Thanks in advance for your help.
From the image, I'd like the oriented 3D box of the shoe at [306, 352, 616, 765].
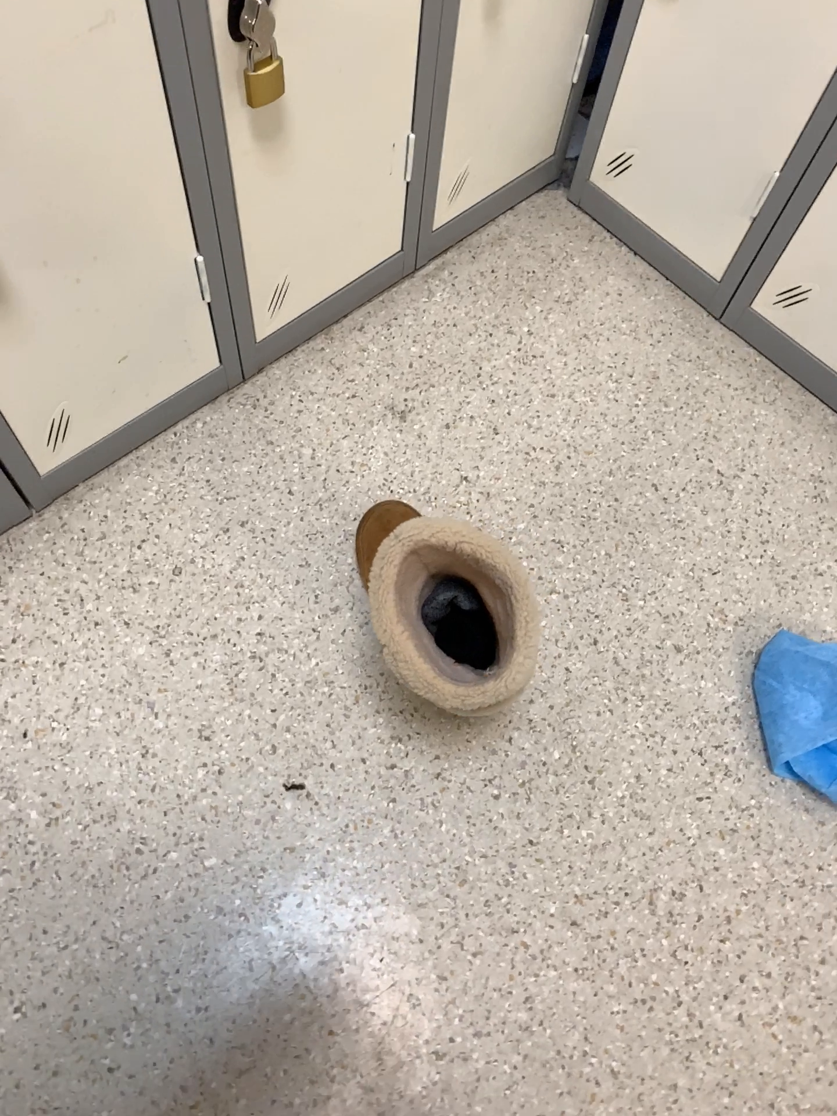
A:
[{"bbox_3d":[0.021,0.009,0.856,0.158,0.244,0.307,-20,68,-14],"label":"shoe"}]
